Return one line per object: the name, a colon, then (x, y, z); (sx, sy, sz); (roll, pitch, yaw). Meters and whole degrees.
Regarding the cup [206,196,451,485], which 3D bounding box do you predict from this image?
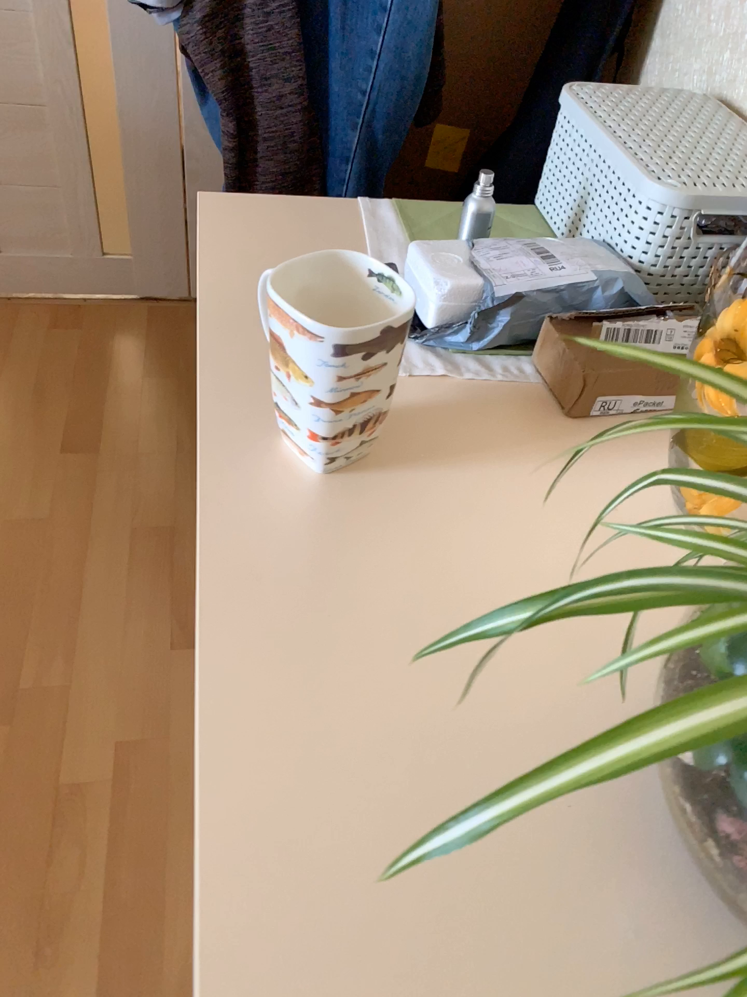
cup: (-0.039, -0.116, 0.548); (0.100, 0.129, 0.141); (-24, 54, -29)
